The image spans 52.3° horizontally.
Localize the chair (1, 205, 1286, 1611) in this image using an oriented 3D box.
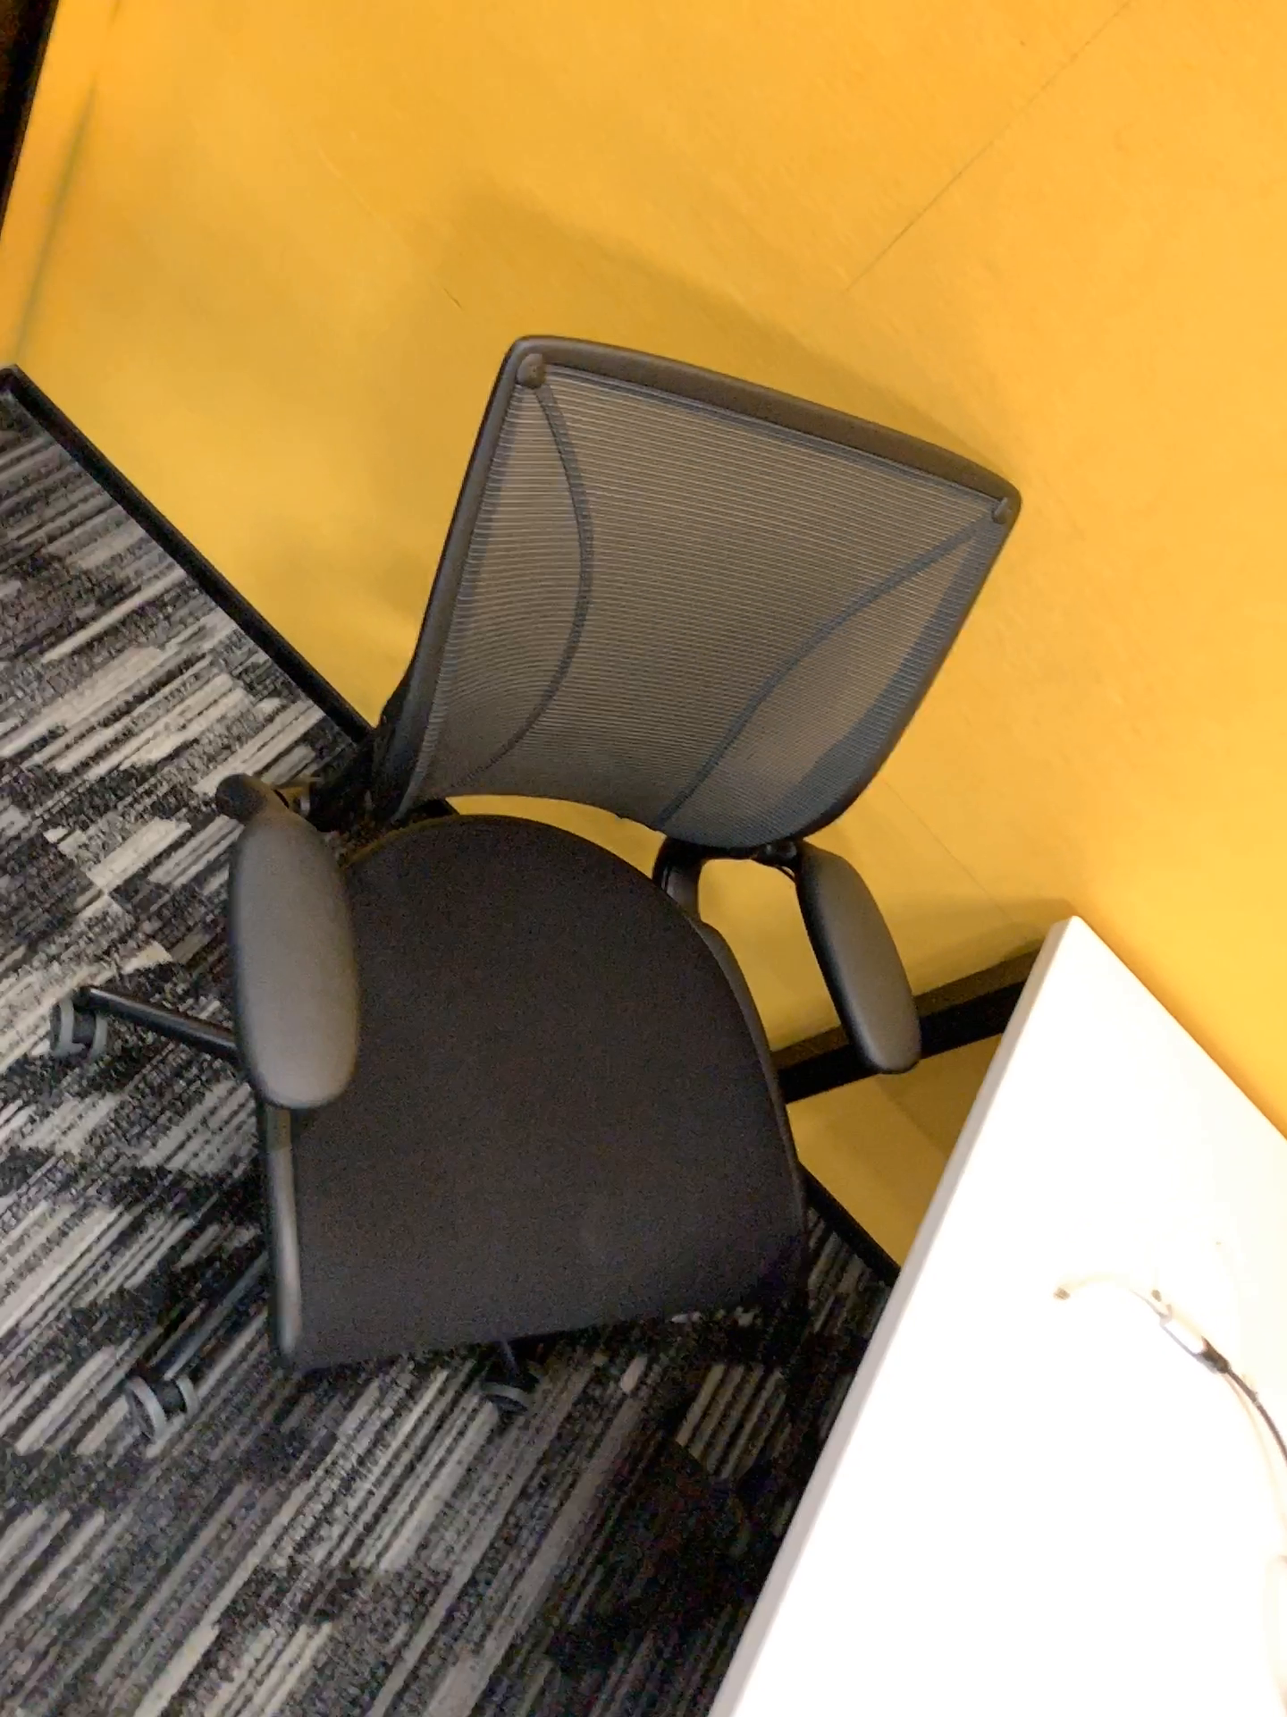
[{"bbox_3d":[-0.095,0.118,0.972,0.542,0.815,0.571,0,69,-35],"label":"chair"}]
